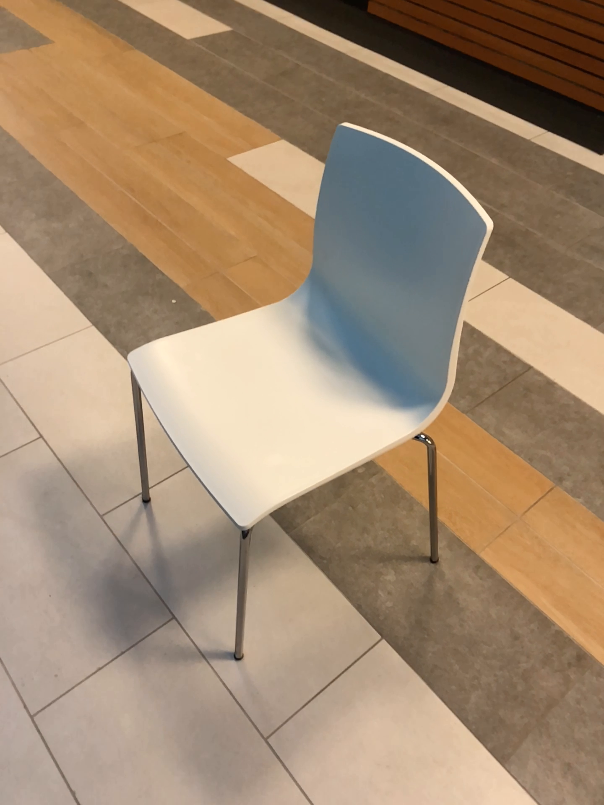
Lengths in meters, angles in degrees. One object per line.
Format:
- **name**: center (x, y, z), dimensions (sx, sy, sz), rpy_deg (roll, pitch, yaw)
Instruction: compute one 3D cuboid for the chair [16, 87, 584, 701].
- **chair**: center (-0.038, -0.014, 1.192), dimensions (0.551, 0.776, 0.582), rpy_deg (-26, 53, -25)
